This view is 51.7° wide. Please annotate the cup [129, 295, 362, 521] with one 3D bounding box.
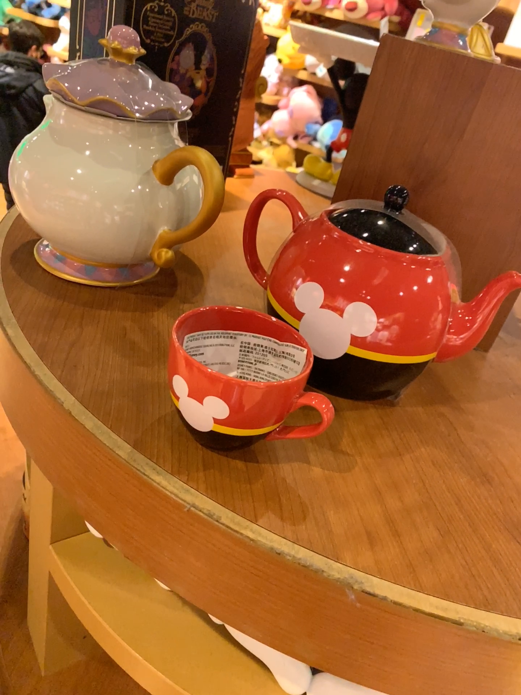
[{"bbox_3d":[-0.011,0.028,0.316,0.100,0.065,0.078,30,34,25],"label":"cup"}]
